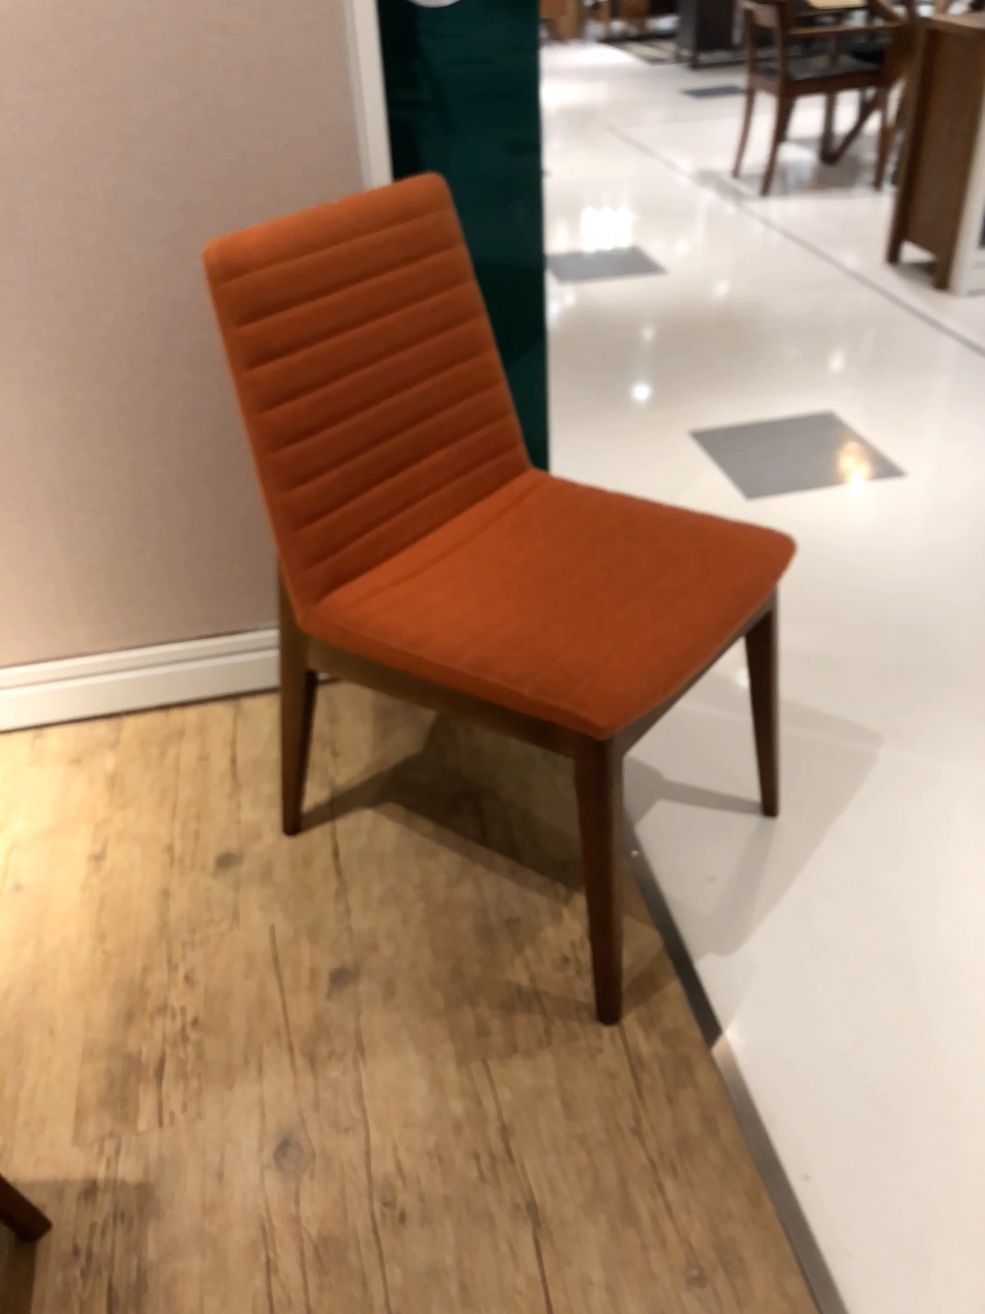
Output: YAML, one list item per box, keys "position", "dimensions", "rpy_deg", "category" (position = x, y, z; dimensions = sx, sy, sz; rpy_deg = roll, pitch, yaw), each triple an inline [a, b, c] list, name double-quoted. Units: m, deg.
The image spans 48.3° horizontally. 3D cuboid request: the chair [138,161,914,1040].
- position: [0.058, -0.112, 1.393]
  dimensions: [0.631, 0.814, 0.533]
  rpy_deg: [21, 42, 31]
  category: "chair"
